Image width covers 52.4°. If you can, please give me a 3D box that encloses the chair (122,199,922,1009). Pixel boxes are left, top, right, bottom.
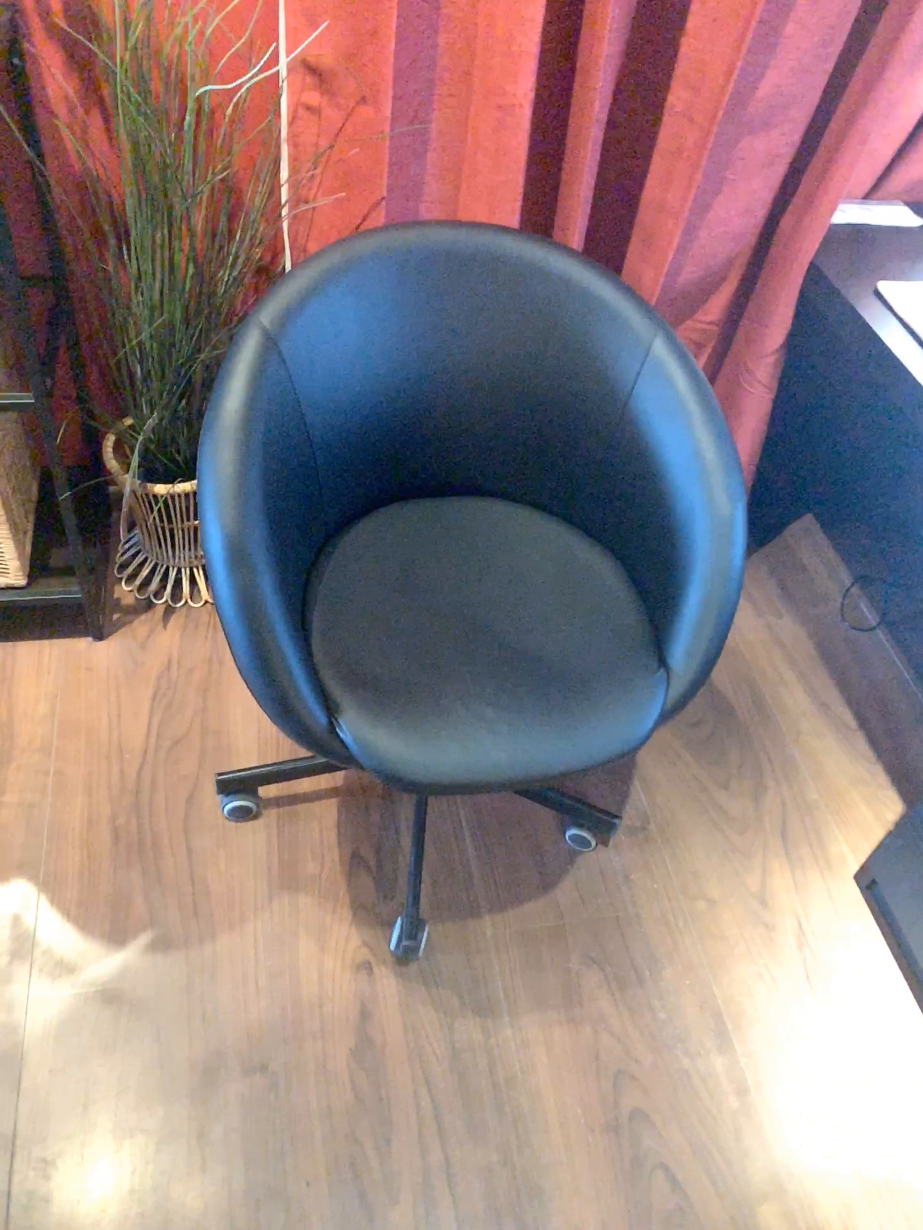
[{"bbox_3d":[-0.012,-0.021,1.139,0.621,0.697,0.582,-9,51,-18],"label":"chair"}]
